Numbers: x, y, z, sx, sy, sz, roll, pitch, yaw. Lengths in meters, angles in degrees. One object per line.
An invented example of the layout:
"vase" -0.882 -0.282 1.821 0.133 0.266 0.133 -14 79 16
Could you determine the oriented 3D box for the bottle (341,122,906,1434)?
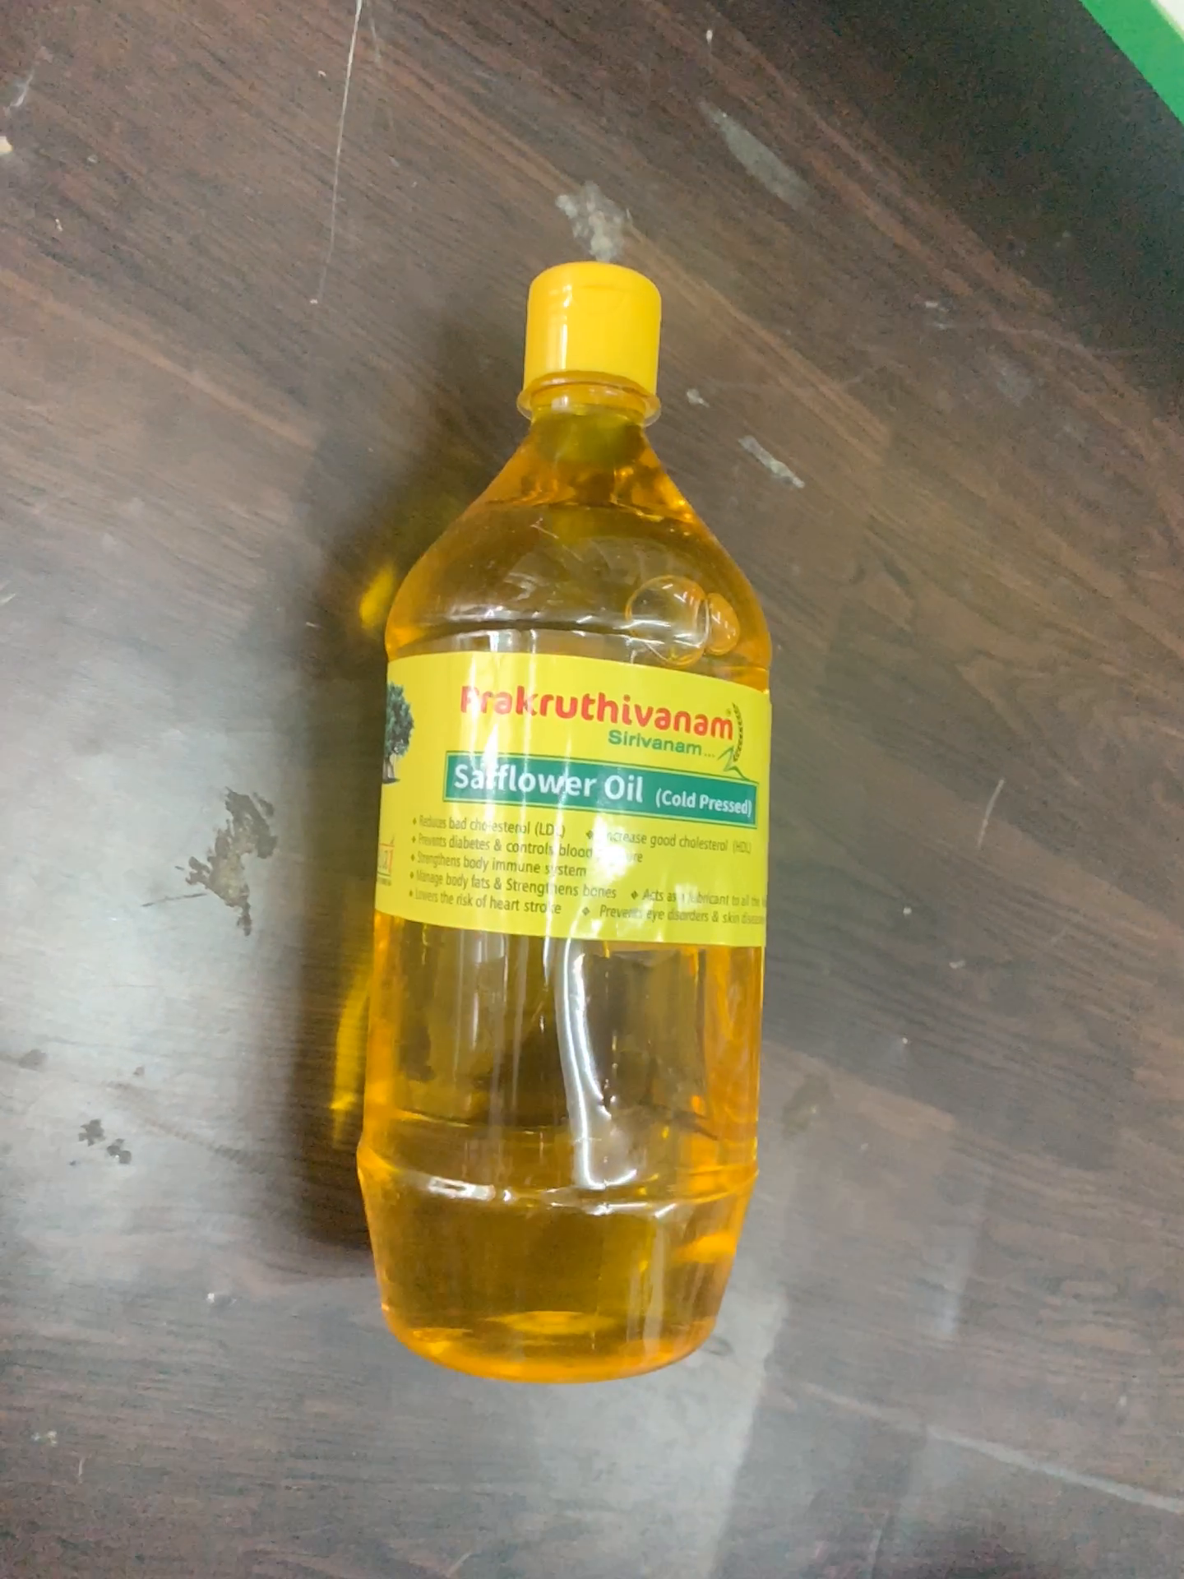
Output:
"bottle" 0.001 0.000 0.264 0.090 0.080 0.230 4 88 -14
